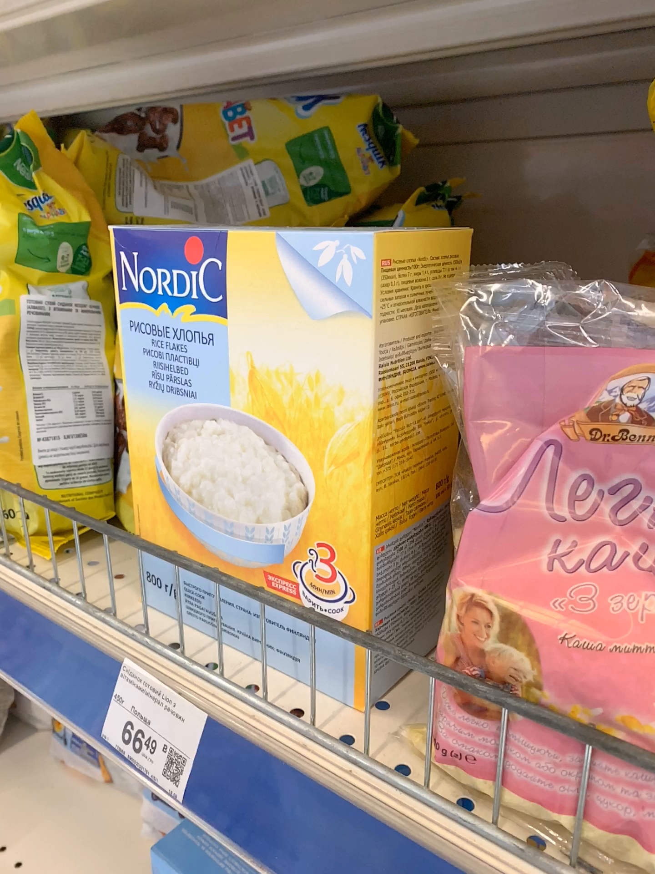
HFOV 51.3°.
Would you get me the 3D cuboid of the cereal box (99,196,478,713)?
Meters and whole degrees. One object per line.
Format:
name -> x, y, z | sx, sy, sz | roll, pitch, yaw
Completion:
cereal box -> -0.021, -0.006, 0.325 | 0.150, 0.199, 0.080 | 12, 20, 36
